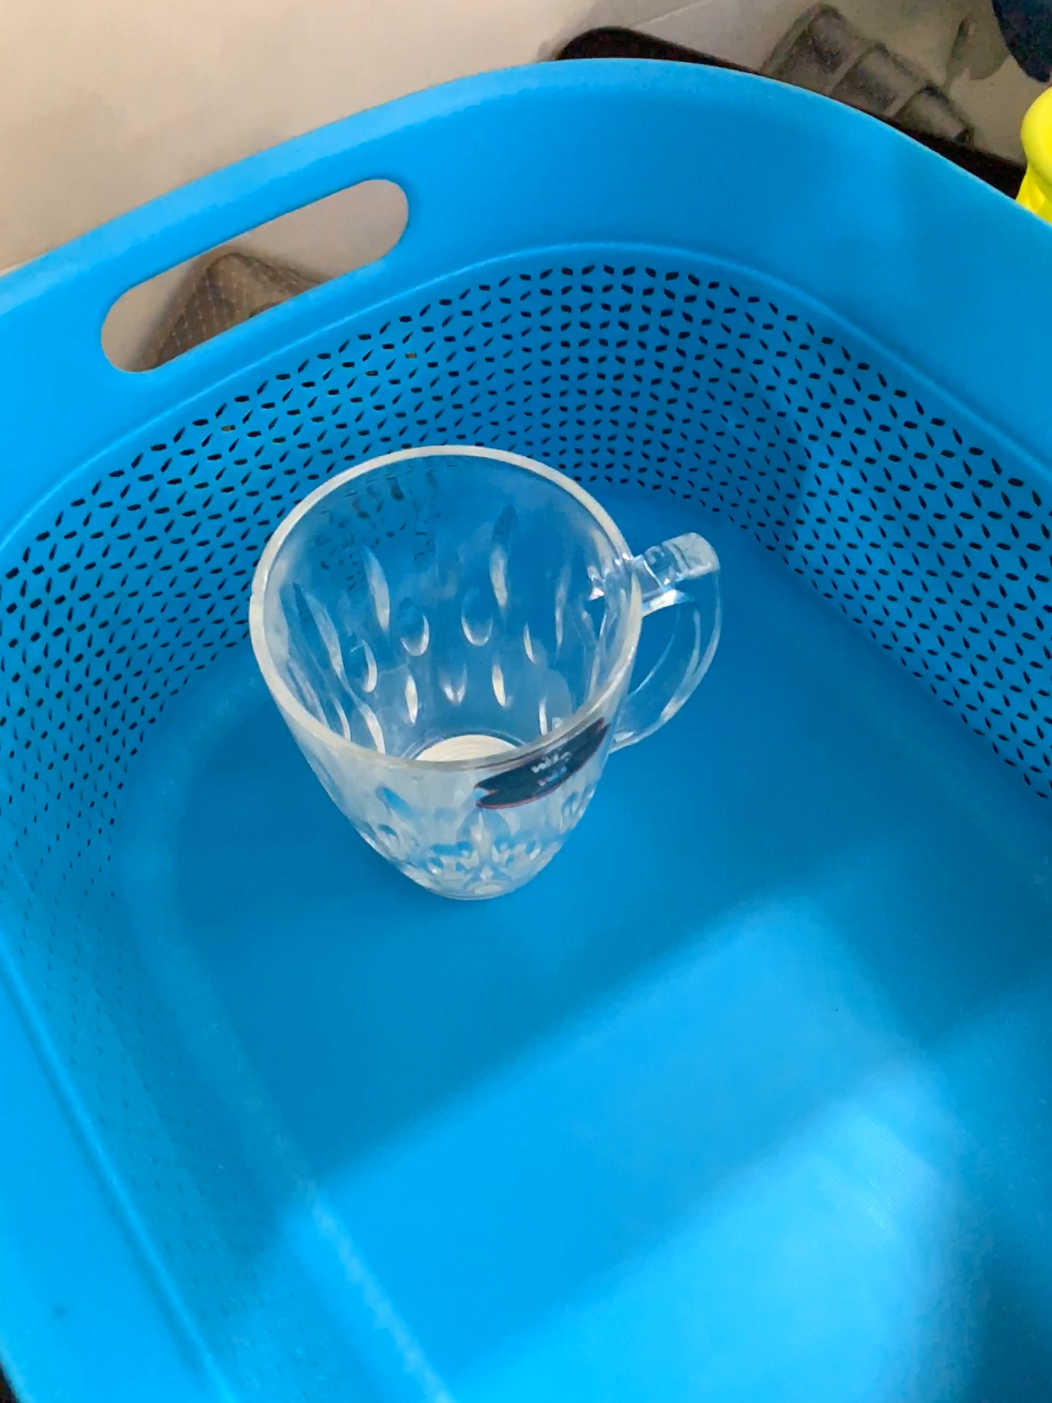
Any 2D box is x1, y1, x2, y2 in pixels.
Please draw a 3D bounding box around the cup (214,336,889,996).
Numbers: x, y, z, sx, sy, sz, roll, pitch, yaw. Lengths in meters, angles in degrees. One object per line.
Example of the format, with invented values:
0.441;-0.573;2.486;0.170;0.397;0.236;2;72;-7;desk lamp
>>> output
0.004;-0.003;0.265;0.110;0.109;0.080;-25;65;-13;cup
